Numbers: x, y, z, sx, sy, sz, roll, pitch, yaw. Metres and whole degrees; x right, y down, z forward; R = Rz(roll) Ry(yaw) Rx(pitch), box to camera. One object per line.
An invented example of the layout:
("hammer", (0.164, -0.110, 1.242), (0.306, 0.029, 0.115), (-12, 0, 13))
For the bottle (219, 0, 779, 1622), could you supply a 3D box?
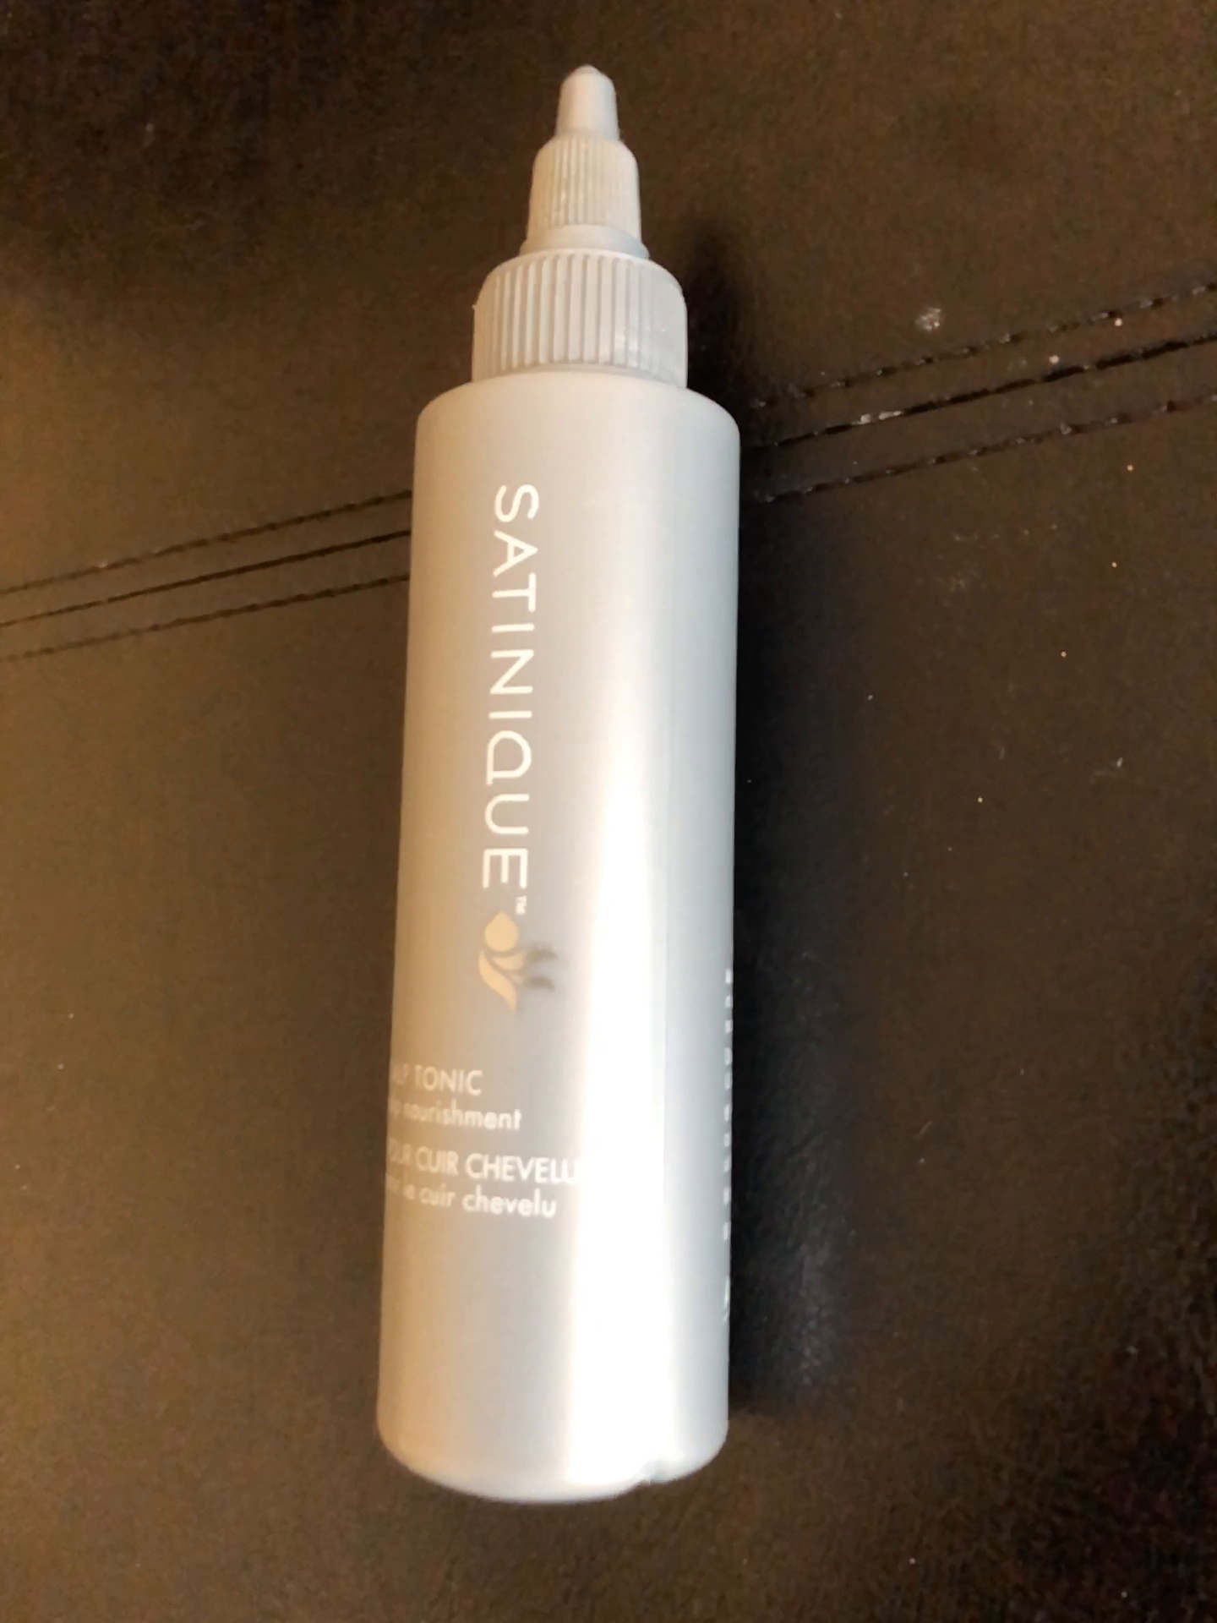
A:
("bottle", (-0.009, -0.001, 0.143), (0.040, 0.040, 0.140), (-2, 84, 31))
